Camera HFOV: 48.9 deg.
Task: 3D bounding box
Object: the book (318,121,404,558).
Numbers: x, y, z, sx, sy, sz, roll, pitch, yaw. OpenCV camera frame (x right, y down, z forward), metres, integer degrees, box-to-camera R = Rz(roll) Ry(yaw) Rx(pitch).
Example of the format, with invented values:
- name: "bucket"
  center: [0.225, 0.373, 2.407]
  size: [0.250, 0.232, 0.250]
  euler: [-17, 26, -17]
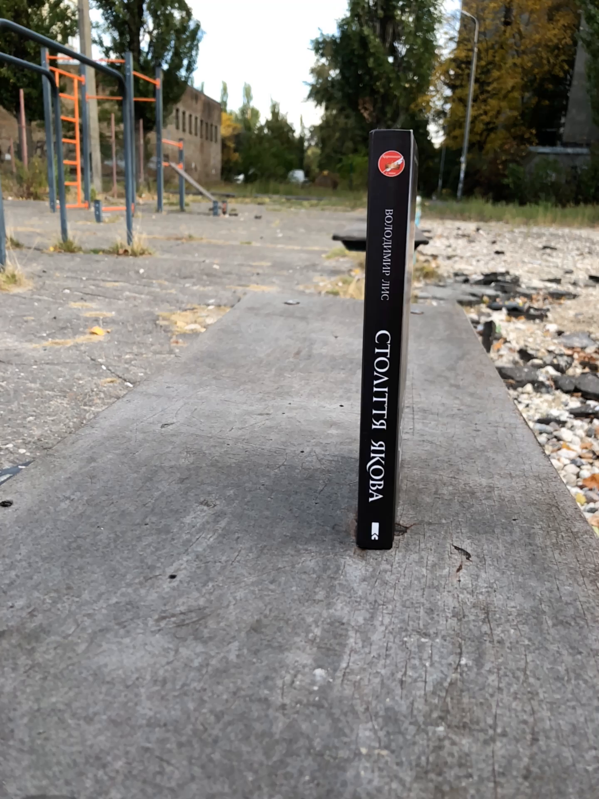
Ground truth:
- name: "book"
  center: [0.038, -0.040, 0.384]
  size: [0.030, 0.212, 0.141]
  euler: [3, 16, 11]
